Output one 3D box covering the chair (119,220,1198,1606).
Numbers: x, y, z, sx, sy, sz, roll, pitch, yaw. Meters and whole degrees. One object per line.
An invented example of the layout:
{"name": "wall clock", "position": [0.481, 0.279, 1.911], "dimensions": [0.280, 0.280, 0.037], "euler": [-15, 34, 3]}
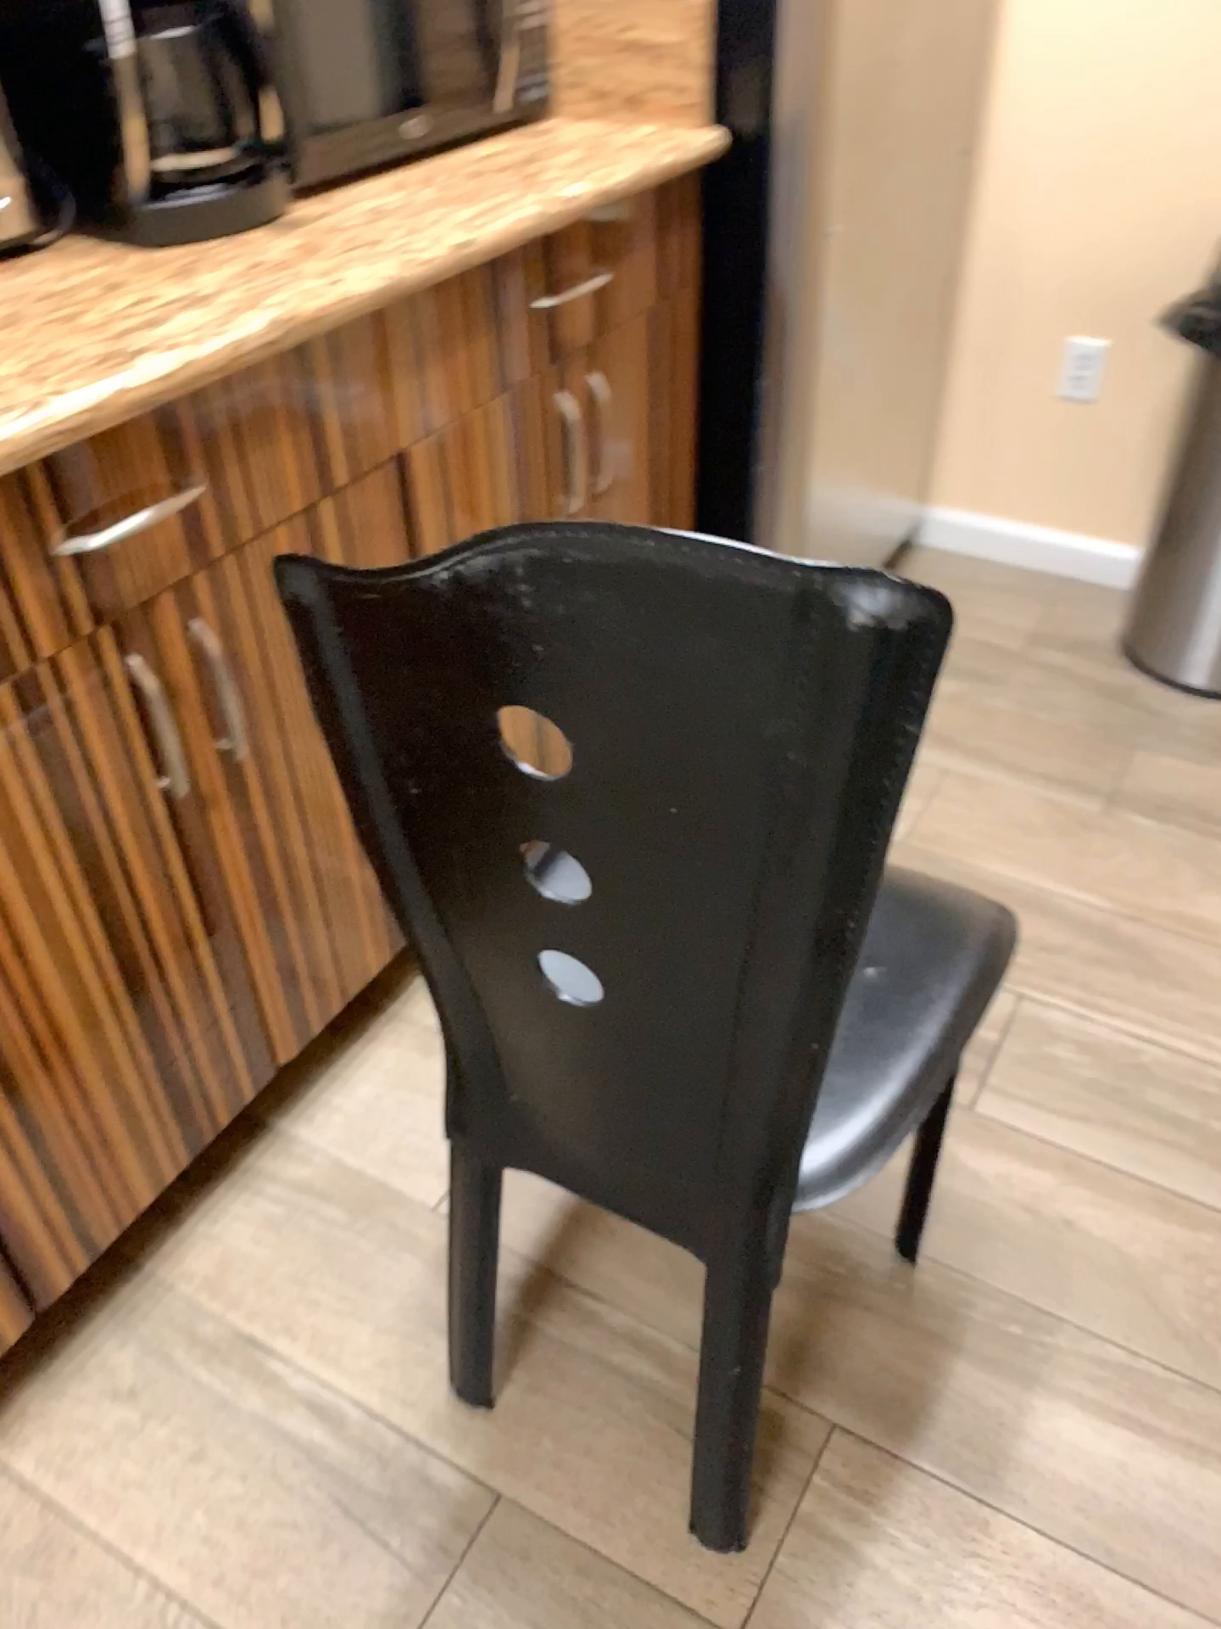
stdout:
{"name": "chair", "position": [0.063, 0.101, 1.026], "dimensions": [0.462, 0.942, 0.475], "euler": [19, 42, 24]}
